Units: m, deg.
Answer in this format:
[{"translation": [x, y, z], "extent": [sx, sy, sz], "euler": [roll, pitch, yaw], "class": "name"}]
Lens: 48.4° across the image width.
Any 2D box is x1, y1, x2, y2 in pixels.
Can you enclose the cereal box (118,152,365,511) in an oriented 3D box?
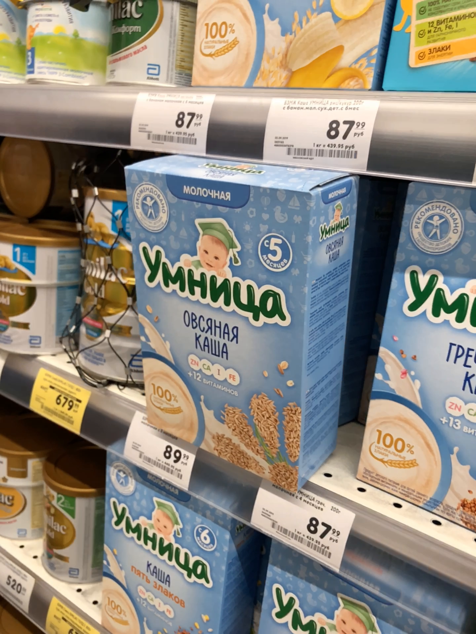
[{"translation": [0.000, 0.004, 0.362], "extent": [0.140, 0.209, 0.060], "euler": [16, 30, 33], "class": "cereal box"}]
